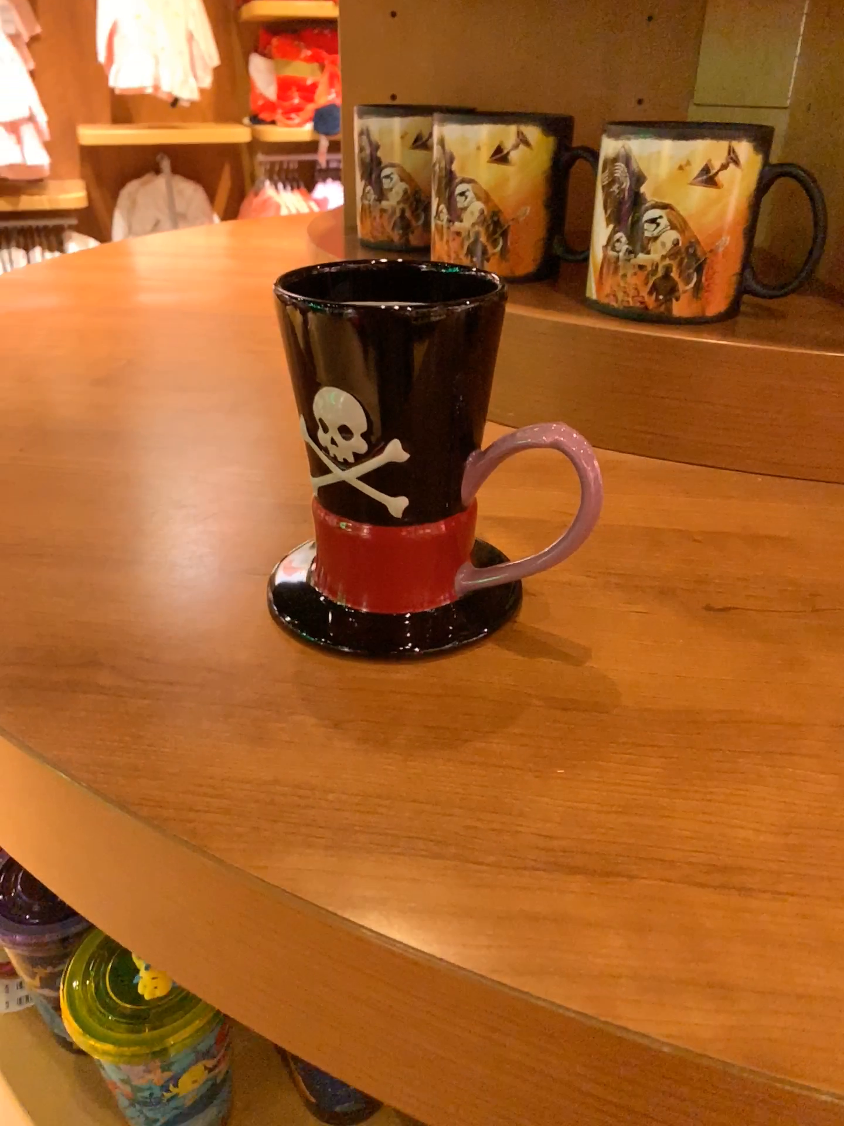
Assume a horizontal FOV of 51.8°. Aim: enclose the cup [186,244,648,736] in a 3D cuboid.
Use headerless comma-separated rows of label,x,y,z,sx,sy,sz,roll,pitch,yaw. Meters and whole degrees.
cup,0.001,-0.040,0.356,0.134,0.144,0.110,16,33,26
